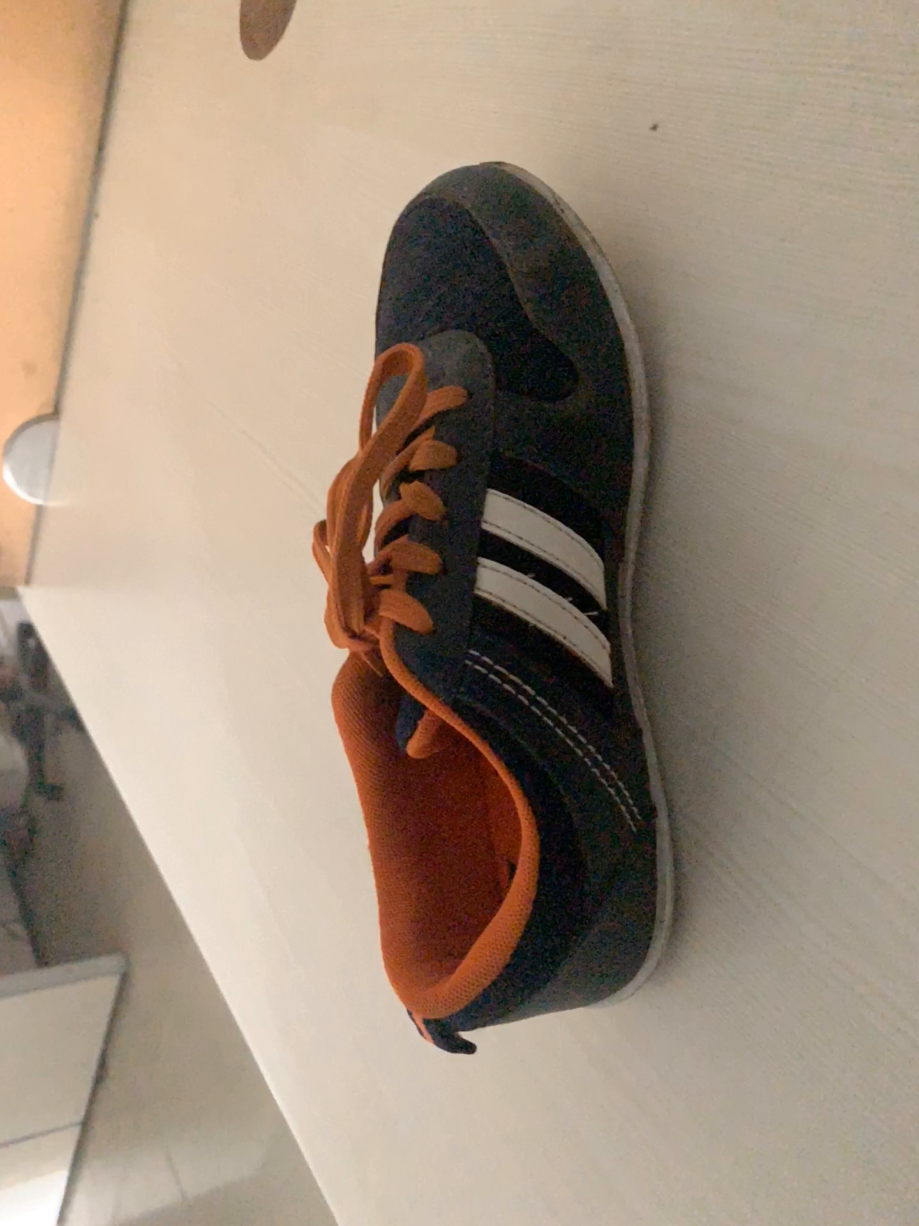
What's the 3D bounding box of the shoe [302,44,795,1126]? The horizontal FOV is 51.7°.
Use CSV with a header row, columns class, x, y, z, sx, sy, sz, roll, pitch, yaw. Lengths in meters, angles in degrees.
class,x,y,z,sx,sy,sz,roll,pitch,yaw
shoe,0.018,-0.007,0.279,0.101,0.079,0.250,-13,78,51
